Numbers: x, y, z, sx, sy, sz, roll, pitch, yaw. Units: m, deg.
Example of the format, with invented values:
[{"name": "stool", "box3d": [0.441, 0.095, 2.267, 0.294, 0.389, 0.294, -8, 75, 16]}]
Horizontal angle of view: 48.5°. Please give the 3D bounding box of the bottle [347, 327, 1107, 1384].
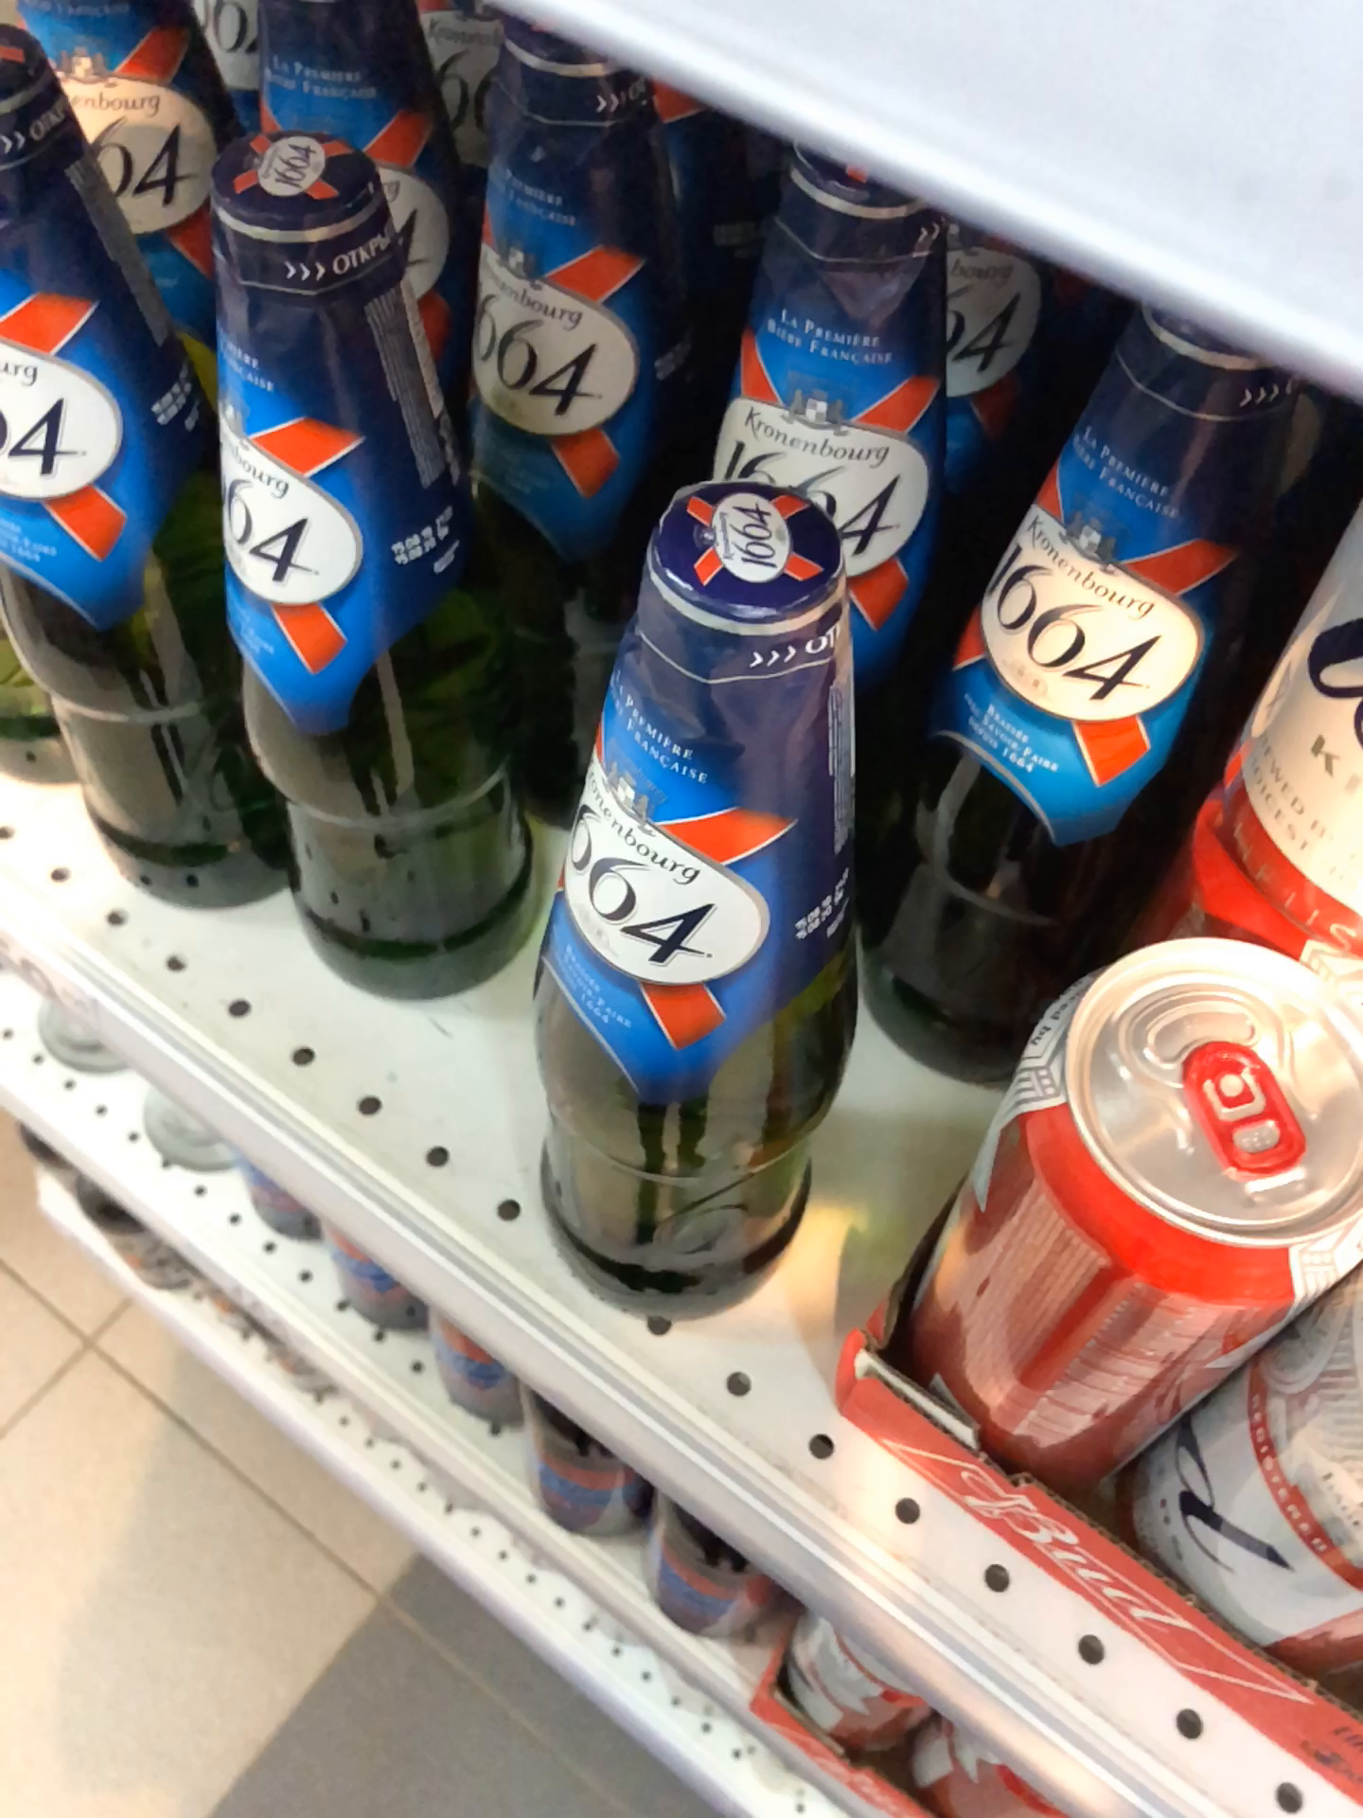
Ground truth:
[{"name": "bottle", "box3d": [0.001, 0.010, 0.308, 0.080, 0.219, 0.080, 1, 56, -2]}]
